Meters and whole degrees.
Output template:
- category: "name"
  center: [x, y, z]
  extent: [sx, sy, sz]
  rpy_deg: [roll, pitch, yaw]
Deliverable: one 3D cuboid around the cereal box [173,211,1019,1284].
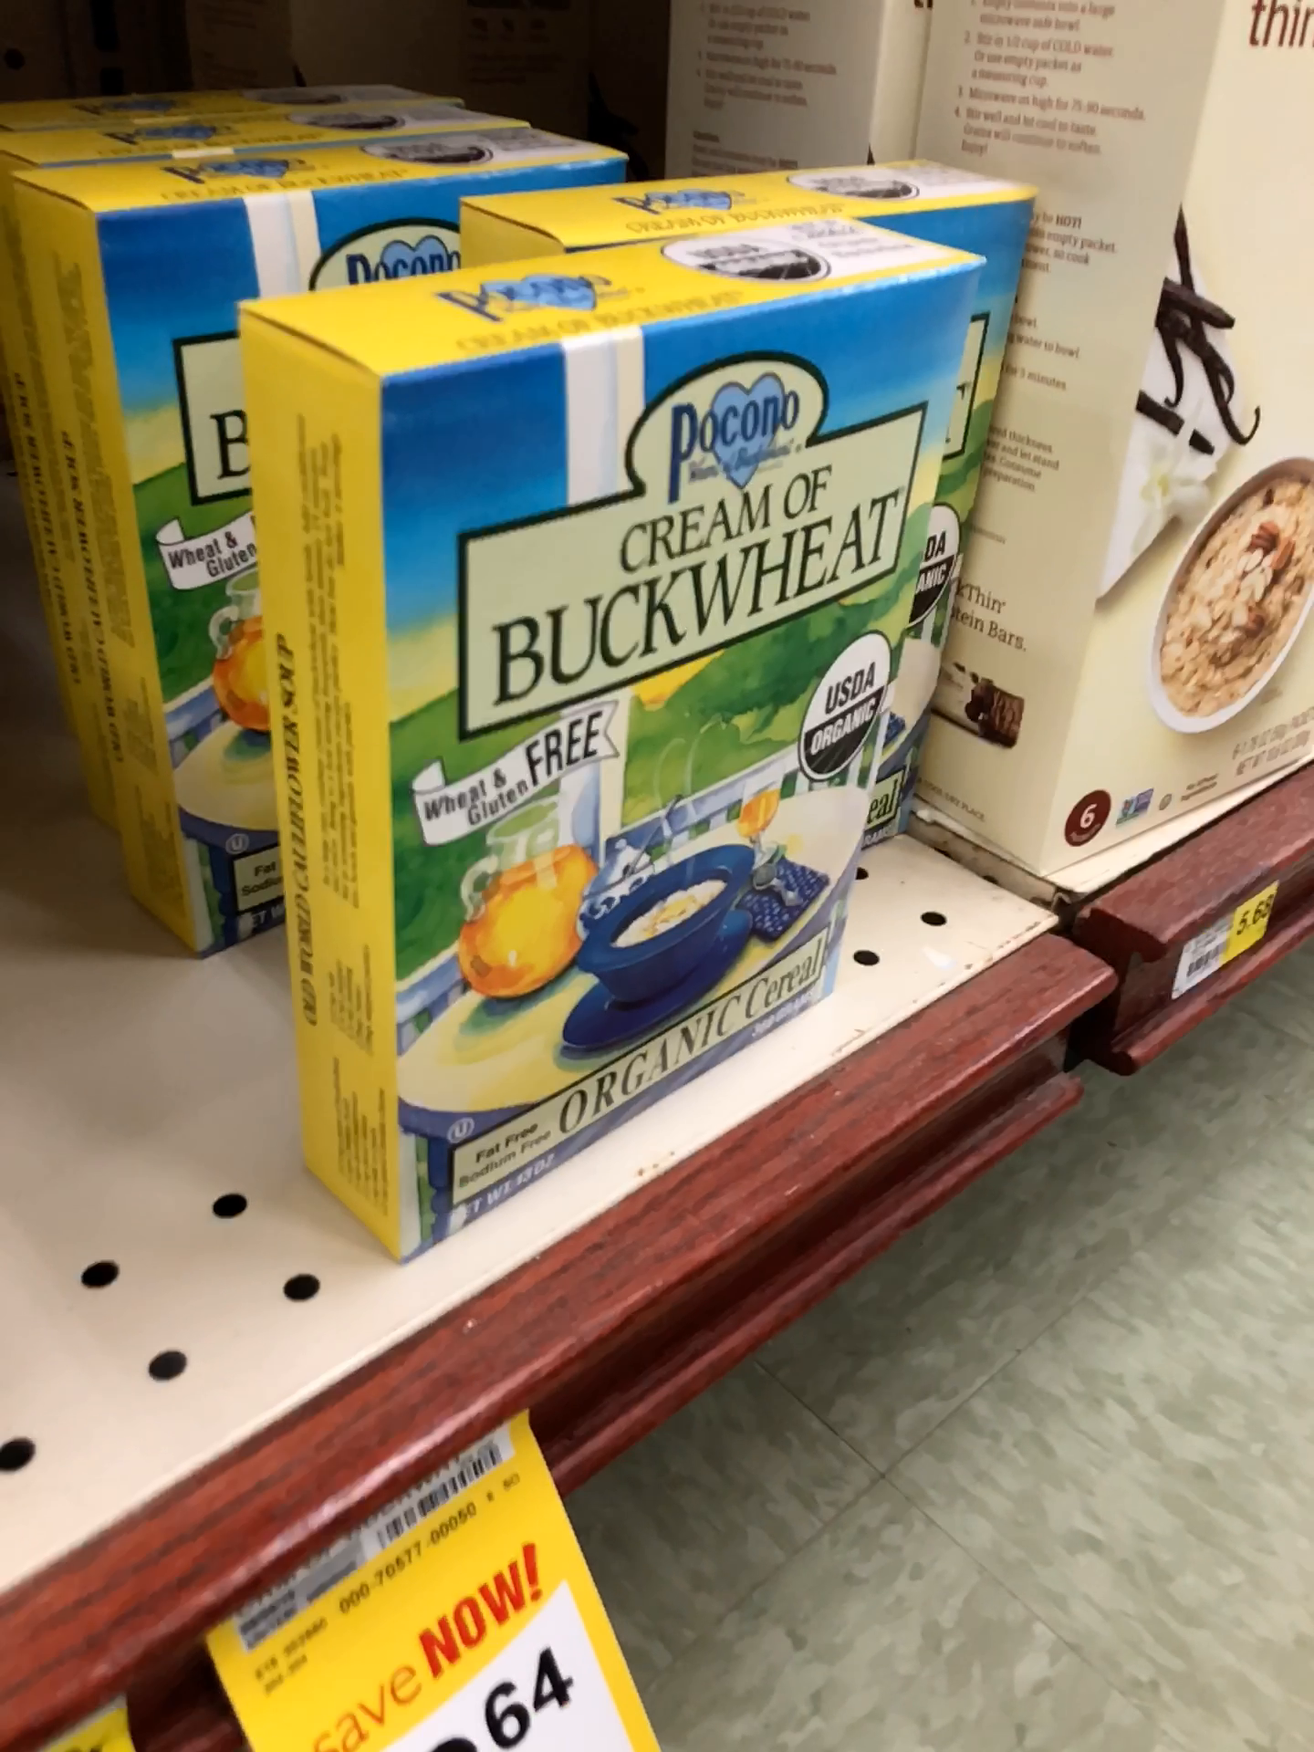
- category: "cereal box"
  center: [-0.005, -0.026, 0.251]
  extent: [0.130, 0.150, 0.040]
  rpy_deg: [-26, 44, -37]
